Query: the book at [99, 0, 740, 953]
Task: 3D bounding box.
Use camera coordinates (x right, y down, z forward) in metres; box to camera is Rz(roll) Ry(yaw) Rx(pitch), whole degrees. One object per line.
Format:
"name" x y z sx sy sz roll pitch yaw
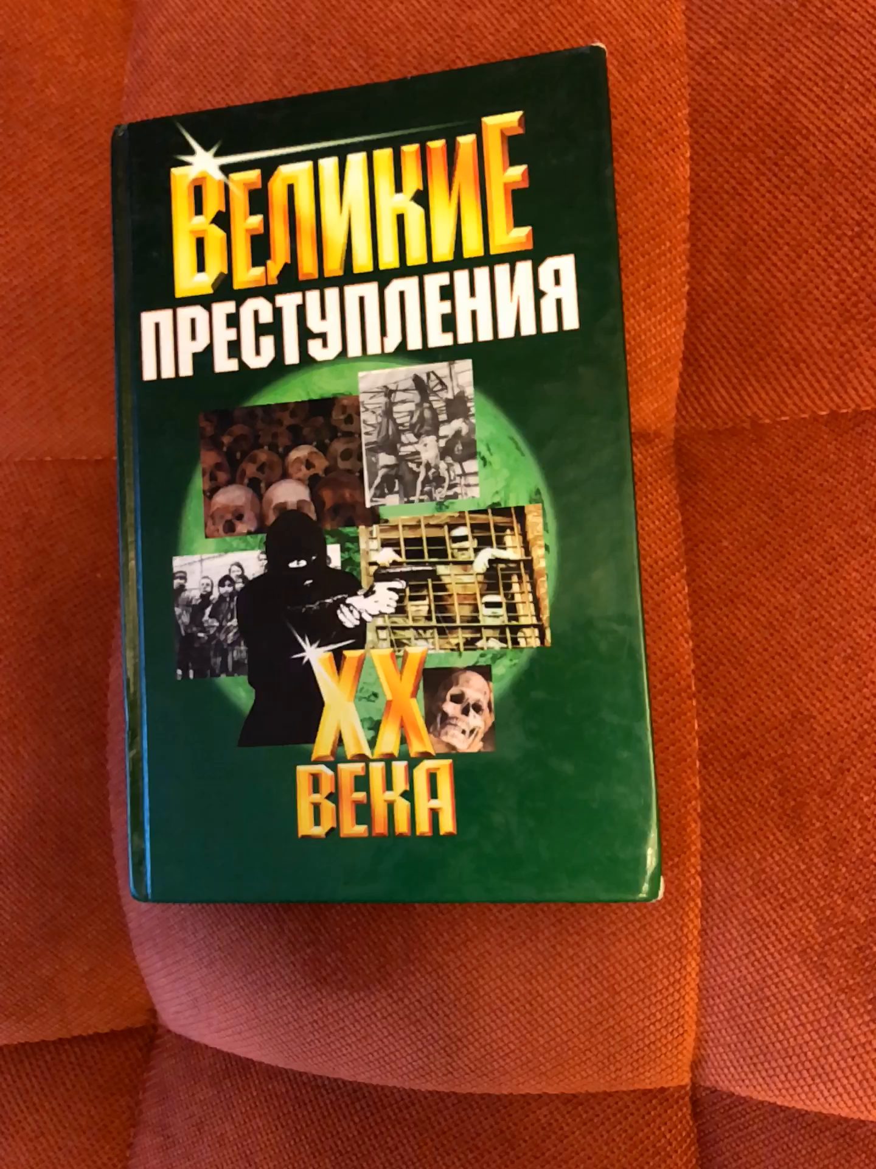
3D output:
"book" -0.009 -0.026 0.266 0.160 0.040 0.230 -3 85 13
